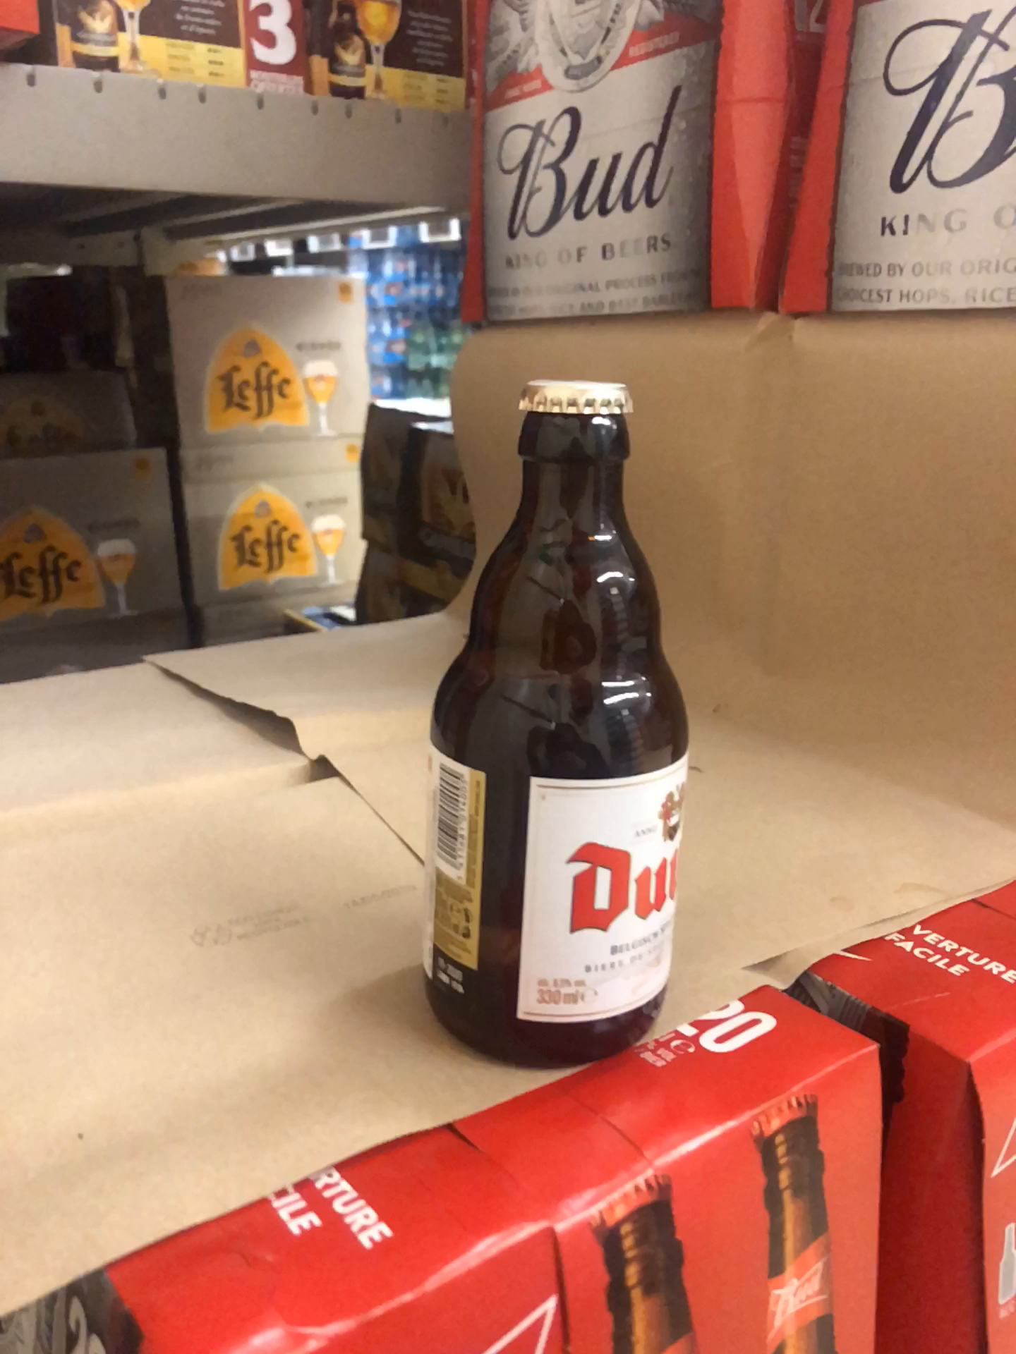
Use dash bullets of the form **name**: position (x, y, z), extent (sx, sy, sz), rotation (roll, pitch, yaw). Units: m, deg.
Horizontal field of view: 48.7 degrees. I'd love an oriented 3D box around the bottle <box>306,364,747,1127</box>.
- **bottle**: position (0.007, 0.009, 0.290), extent (0.070, 0.169, 0.080), rotation (13, 22, 36)
